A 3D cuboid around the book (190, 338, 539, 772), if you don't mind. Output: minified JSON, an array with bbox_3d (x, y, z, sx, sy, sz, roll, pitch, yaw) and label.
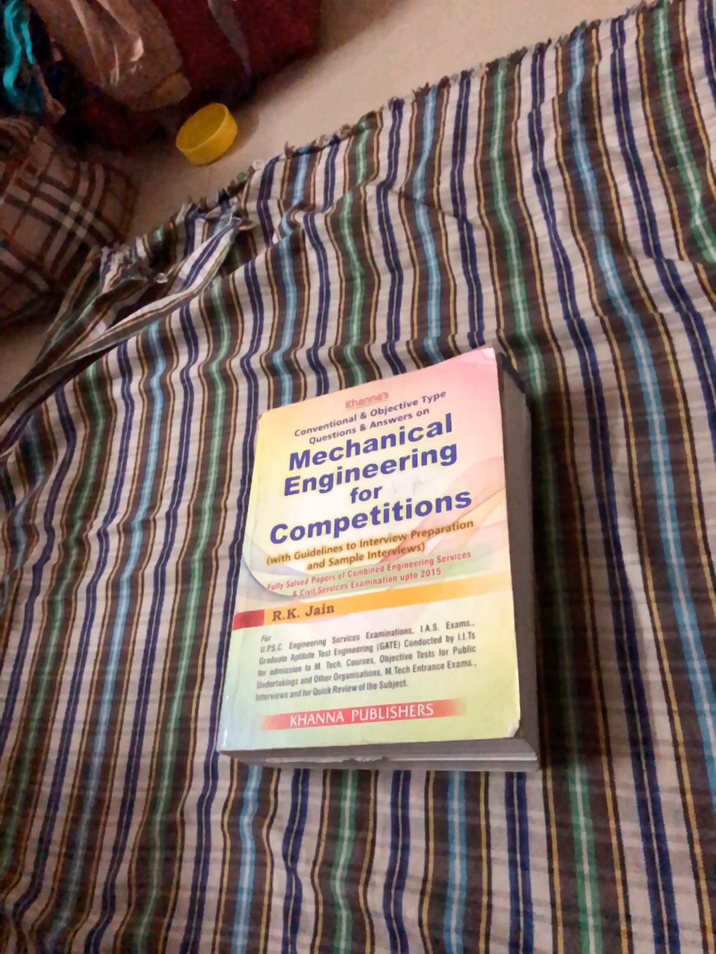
[{"bbox_3d":[0.010,0.059,0.572,0.210,0.077,0.280,-11,58,26],"label":"book"}]
